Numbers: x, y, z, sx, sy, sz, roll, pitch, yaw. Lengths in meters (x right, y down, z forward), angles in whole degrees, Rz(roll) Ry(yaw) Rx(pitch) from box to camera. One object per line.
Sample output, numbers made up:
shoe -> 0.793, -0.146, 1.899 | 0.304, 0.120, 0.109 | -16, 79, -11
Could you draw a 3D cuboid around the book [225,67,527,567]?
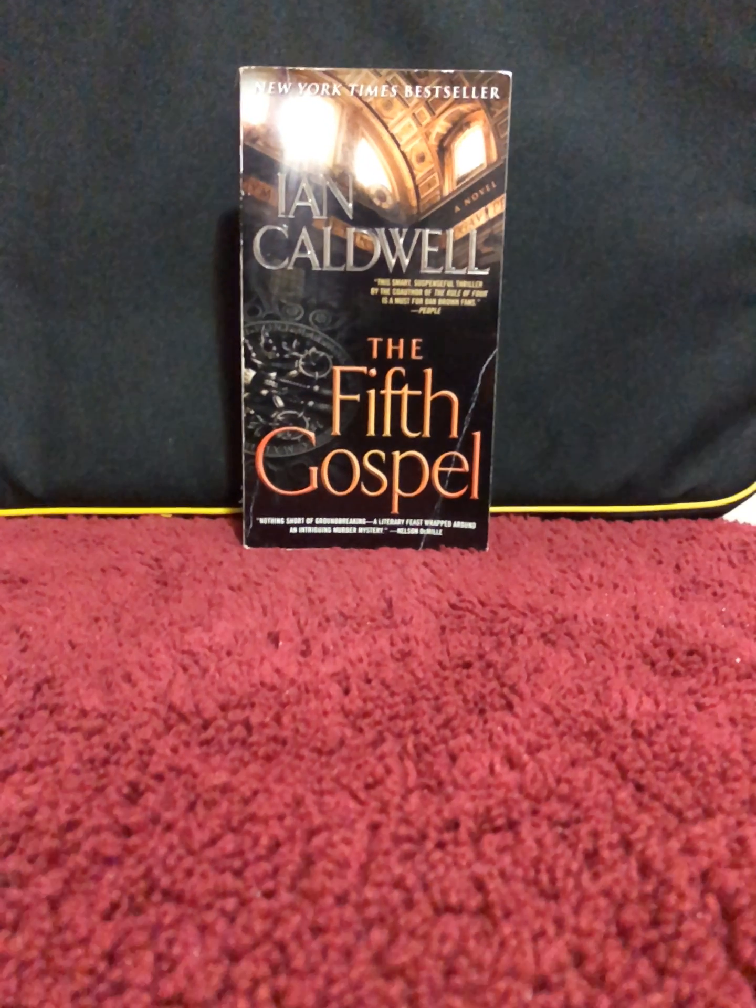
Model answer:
book -> -0.001, -0.078, 0.373 | 0.120, 0.200, 0.050 | 2, 9, 4
